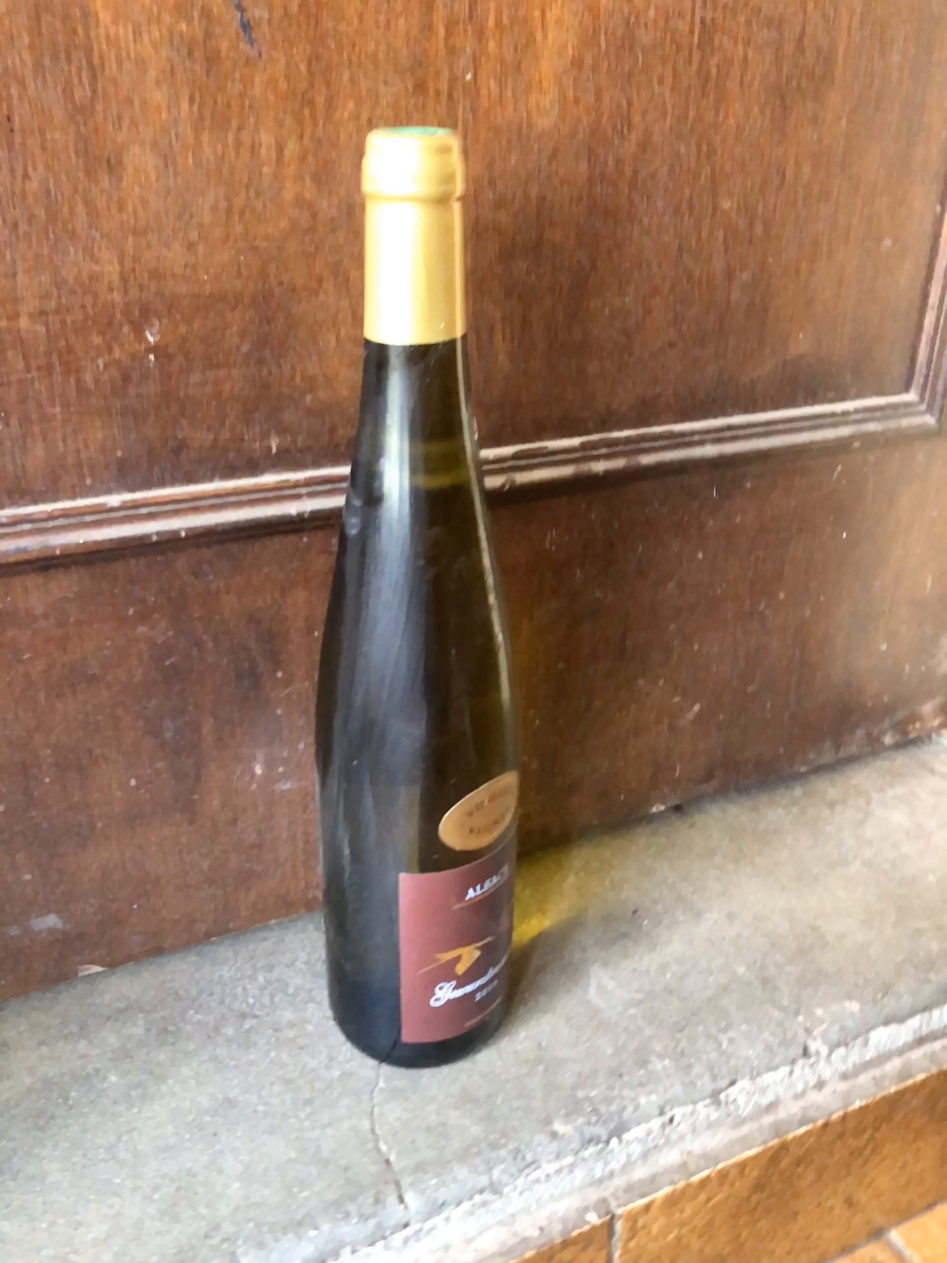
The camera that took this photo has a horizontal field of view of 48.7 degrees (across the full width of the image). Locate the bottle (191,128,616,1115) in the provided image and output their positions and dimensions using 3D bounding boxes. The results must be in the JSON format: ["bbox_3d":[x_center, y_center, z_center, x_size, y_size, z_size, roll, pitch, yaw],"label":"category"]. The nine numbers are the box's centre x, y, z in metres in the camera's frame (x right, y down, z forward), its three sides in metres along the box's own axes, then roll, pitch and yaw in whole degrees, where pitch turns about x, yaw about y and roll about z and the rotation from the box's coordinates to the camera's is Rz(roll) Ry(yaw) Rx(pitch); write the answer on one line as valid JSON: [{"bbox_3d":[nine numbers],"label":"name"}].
[{"bbox_3d":[-0.019,0.005,0.347,0.080,0.308,0.080,0,26,0],"label":"bottle"}]
